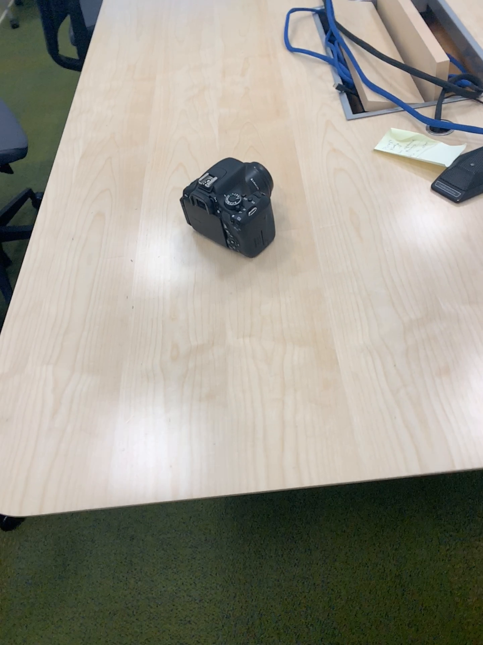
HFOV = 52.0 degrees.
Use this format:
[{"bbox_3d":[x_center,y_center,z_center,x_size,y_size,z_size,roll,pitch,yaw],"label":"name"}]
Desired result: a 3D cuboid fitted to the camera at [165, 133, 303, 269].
[{"bbox_3d":[-0.007,-0.178,0.717,0.141,0.100,0.123,33,65,30],"label":"camera"}]
